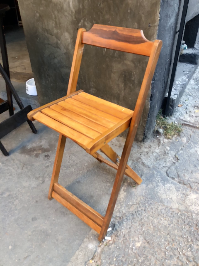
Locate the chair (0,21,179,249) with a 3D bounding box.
[{"bbox_3d":[-0.029,-0.012,1.045,0.481,0.853,0.502,24,42,32],"label":"chair"}]
